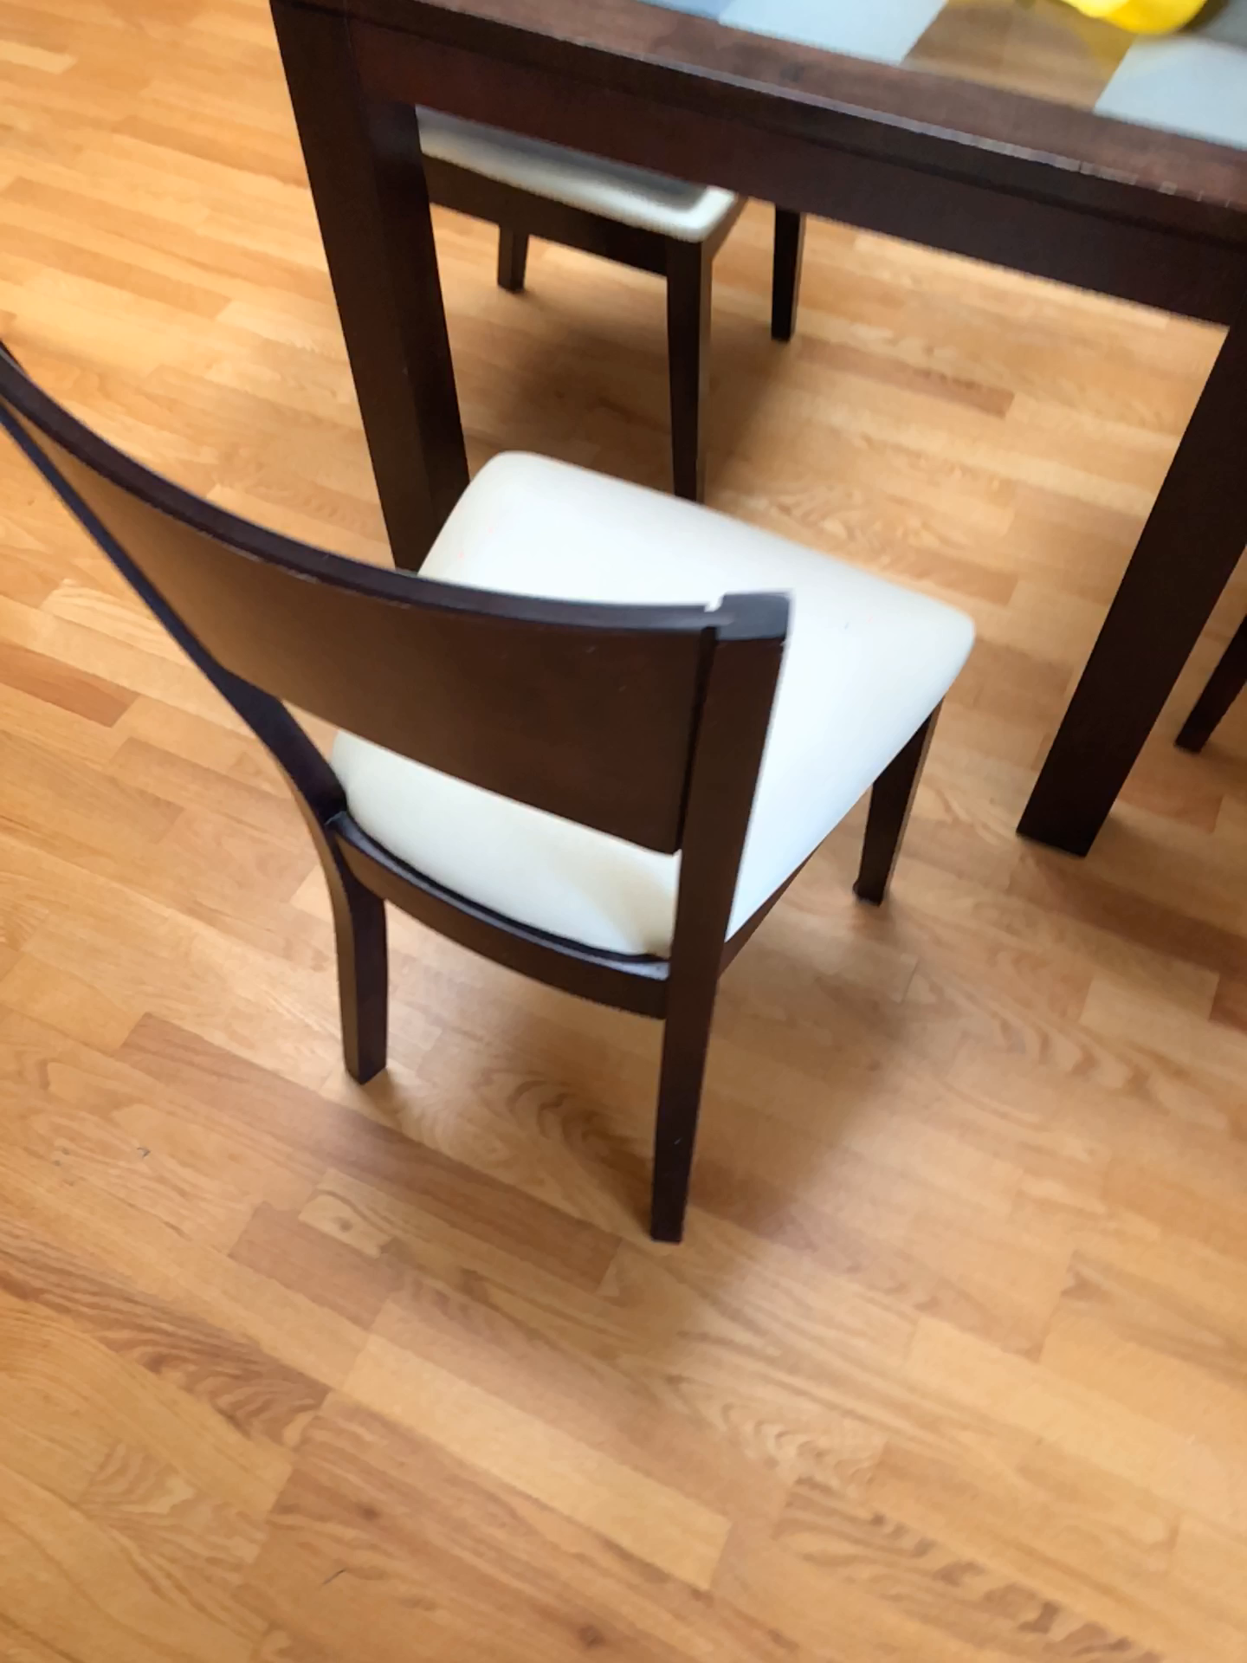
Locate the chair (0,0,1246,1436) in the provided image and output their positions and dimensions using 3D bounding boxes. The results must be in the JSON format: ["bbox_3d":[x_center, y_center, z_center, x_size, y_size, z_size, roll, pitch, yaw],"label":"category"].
[{"bbox_3d":[0.030,-0.036,1.099,0.561,0.996,0.592,25,60,17],"label":"chair"}]
